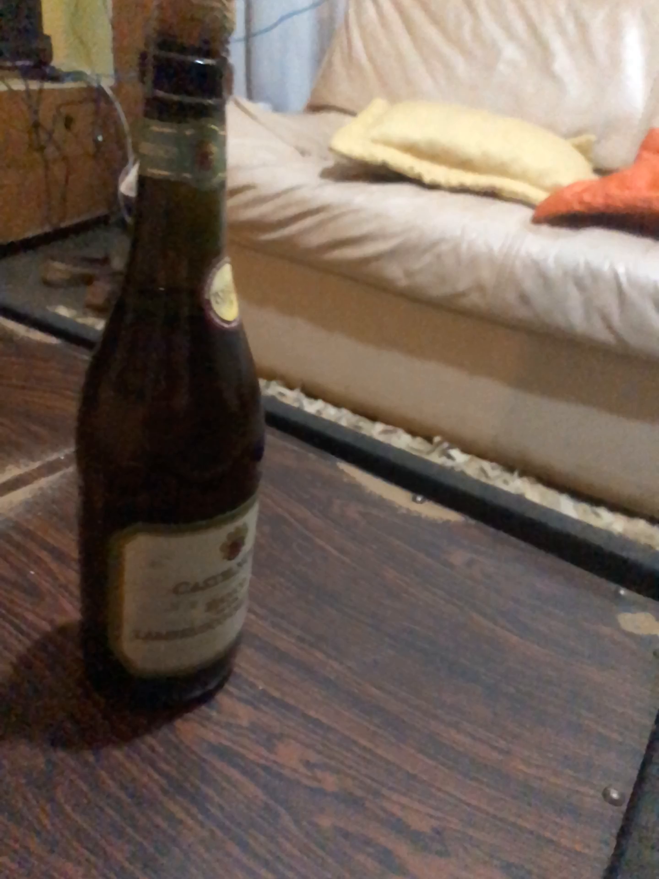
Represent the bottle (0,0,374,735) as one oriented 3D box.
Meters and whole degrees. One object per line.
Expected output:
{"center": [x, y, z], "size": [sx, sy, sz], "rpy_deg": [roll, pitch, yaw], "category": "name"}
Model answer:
{"center": [-0.064, -0.029, 0.317], "size": [0.090, 0.298, 0.091], "rpy_deg": [6, 27, -3], "category": "bottle"}
